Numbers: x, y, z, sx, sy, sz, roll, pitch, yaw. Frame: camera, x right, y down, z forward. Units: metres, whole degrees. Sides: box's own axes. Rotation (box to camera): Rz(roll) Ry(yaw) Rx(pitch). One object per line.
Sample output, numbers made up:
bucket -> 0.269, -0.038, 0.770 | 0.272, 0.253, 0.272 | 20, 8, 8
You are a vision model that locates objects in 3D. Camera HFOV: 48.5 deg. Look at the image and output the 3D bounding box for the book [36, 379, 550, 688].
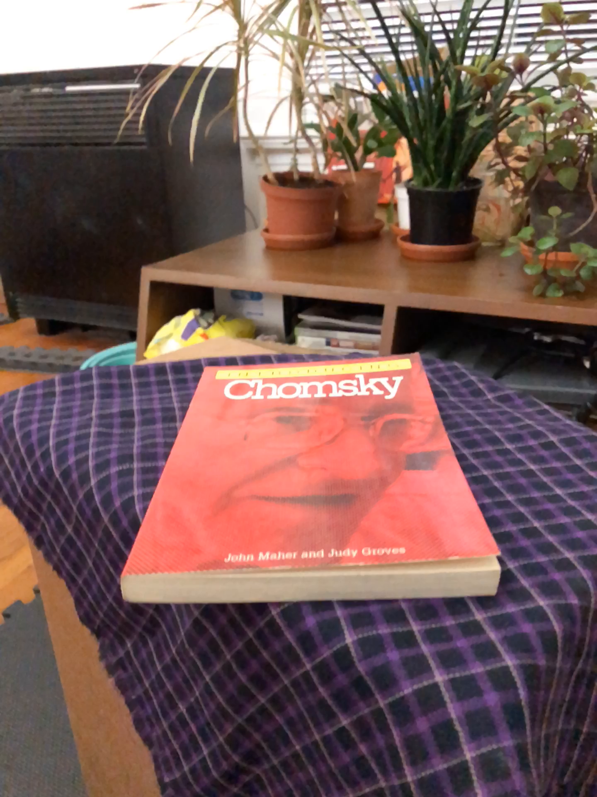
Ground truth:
book -> -0.001, 0.046, 0.347 | 0.180, 0.020, 0.241 | -1, 23, 1
